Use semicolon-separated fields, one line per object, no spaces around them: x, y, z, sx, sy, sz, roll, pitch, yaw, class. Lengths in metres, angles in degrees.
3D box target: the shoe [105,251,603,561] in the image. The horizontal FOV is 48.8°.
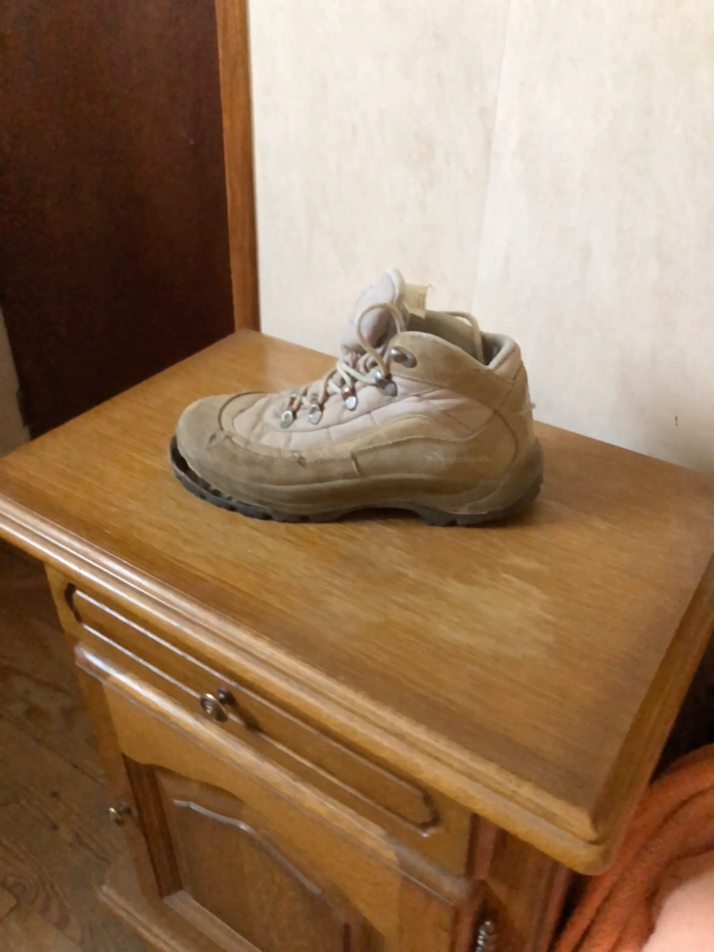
0.002;-0.054;0.545;0.290;0.139;0.131;6;35;7;shoe
